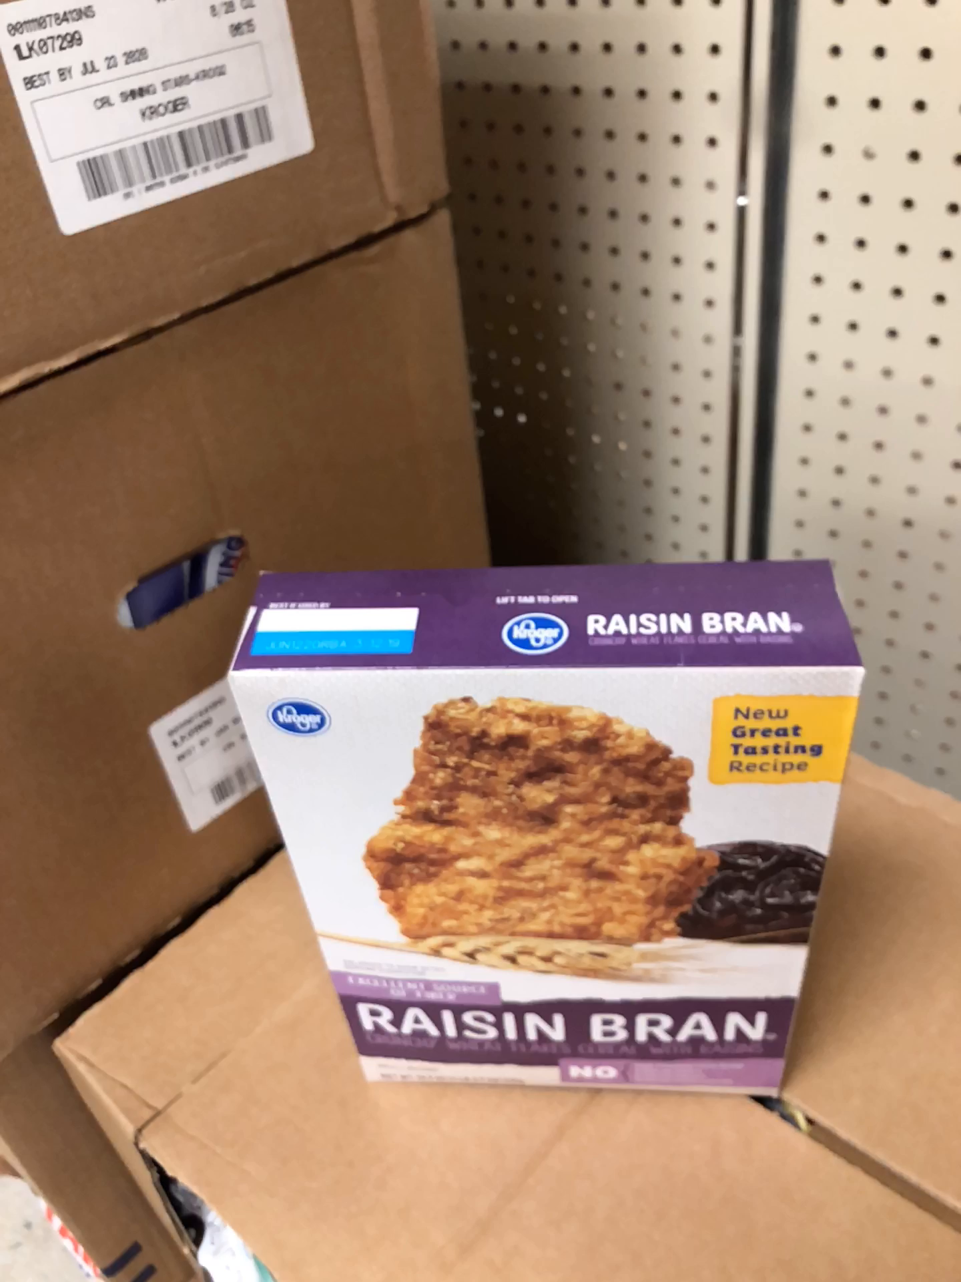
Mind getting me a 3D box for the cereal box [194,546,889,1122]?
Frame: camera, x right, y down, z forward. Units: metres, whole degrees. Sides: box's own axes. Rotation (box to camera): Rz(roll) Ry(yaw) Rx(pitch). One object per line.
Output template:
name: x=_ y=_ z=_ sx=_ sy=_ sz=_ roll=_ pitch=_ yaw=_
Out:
cereal box: x=0.032 y=0.092 z=0.404 sx=0.190 sy=0.279 sz=0.050 roll=-1 pitch=44 yaw=10
